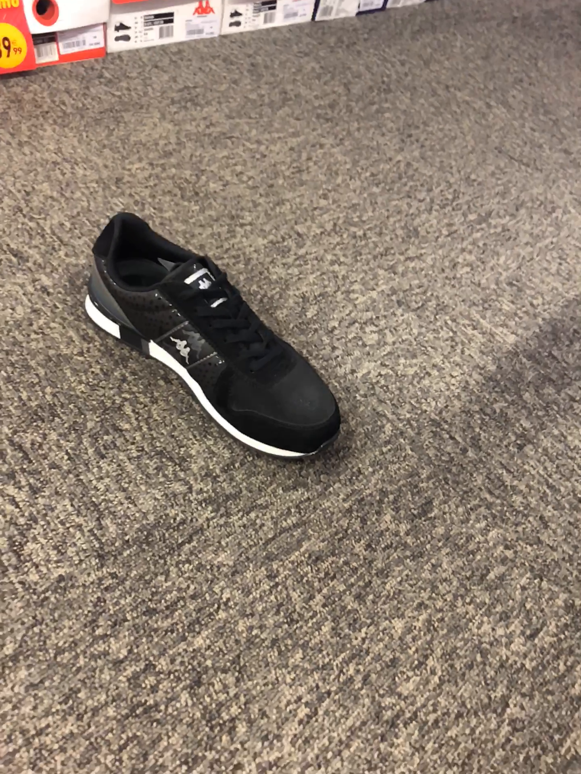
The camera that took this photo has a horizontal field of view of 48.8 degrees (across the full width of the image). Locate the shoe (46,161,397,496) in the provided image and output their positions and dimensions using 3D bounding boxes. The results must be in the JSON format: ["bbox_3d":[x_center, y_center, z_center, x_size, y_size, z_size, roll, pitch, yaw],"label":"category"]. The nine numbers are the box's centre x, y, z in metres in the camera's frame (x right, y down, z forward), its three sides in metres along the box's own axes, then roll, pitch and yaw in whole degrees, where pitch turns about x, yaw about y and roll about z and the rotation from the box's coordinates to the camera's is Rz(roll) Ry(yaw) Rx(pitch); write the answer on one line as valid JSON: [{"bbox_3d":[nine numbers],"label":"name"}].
[{"bbox_3d":[-0.064,-0.054,0.518,0.274,0.089,0.101,40,52,13],"label":"shoe"}]
